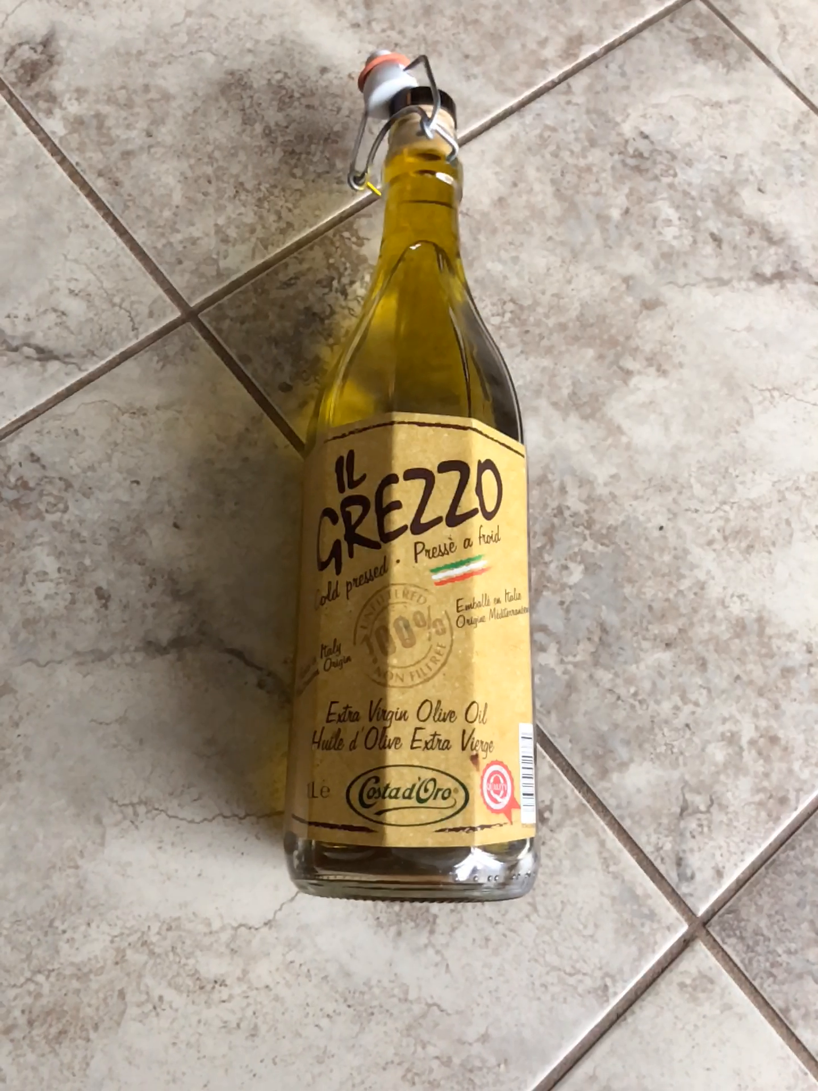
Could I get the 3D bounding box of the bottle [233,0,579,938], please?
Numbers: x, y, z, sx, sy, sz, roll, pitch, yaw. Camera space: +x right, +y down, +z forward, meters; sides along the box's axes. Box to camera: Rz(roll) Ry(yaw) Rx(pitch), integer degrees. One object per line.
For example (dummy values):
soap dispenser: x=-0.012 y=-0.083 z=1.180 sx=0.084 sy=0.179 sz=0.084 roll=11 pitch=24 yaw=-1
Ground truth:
bottle: x=0.001 y=-0.052 z=0.334 sx=0.090 sy=0.100 sz=0.350 roll=5 pitch=72 yaw=-6
